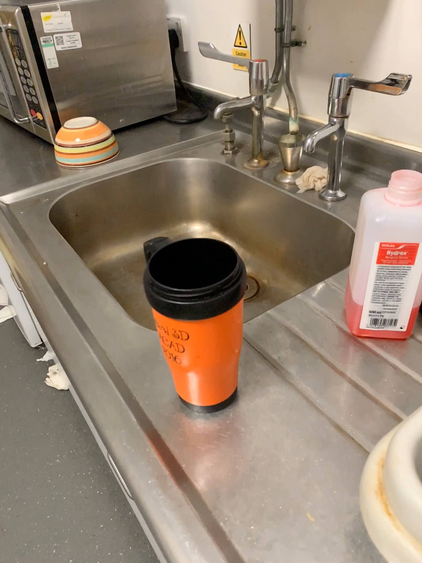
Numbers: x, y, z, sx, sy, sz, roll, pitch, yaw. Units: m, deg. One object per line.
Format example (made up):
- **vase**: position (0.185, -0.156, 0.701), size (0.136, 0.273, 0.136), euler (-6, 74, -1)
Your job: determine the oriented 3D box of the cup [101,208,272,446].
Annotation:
- **cup**: position (-0.021, 0.040, 0.421), size (0.090, 0.164, 0.135), euler (-26, 41, -26)
